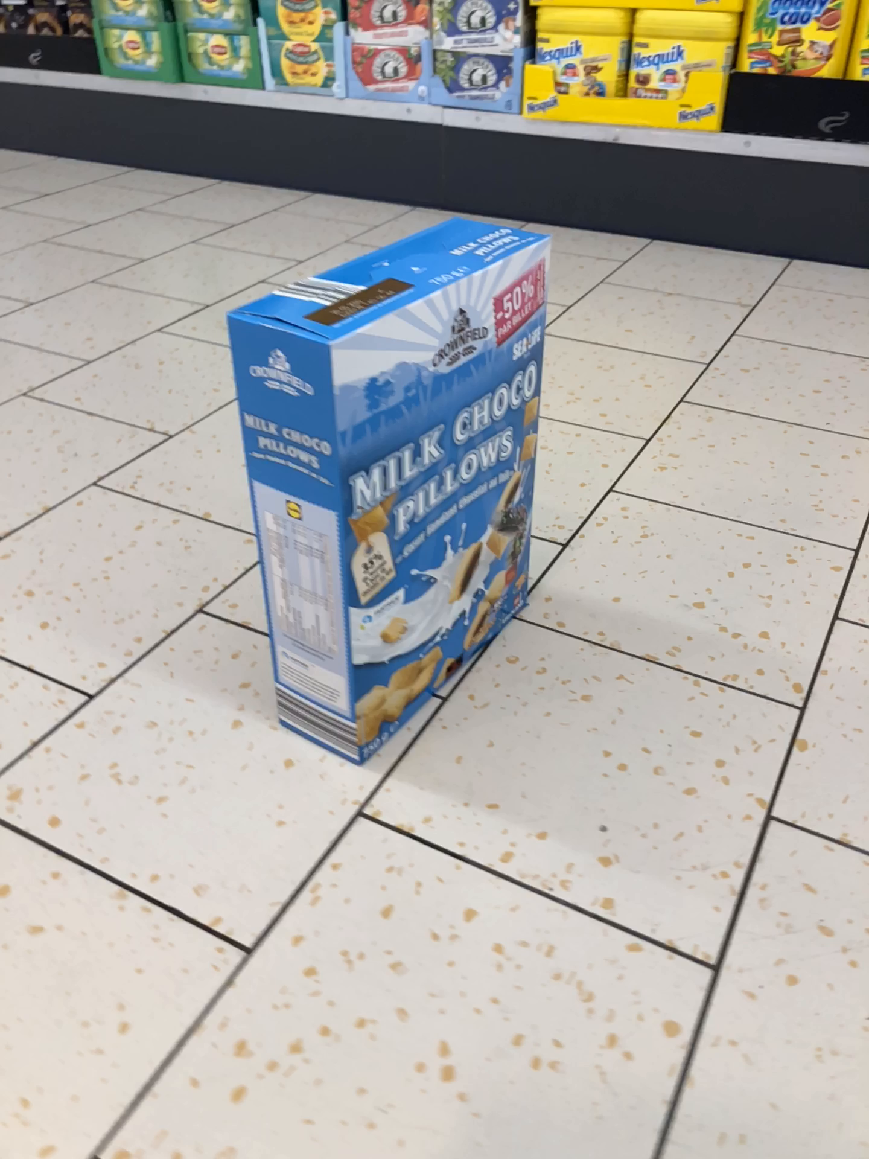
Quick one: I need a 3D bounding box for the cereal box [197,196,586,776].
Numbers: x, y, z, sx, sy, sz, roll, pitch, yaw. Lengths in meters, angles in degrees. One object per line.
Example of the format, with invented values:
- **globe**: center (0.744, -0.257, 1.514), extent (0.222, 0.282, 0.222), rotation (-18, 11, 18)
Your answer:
- **cereal box**: center (-0.010, -0.059, 0.549), extent (0.080, 0.258, 0.211), rotation (22, 41, 30)
